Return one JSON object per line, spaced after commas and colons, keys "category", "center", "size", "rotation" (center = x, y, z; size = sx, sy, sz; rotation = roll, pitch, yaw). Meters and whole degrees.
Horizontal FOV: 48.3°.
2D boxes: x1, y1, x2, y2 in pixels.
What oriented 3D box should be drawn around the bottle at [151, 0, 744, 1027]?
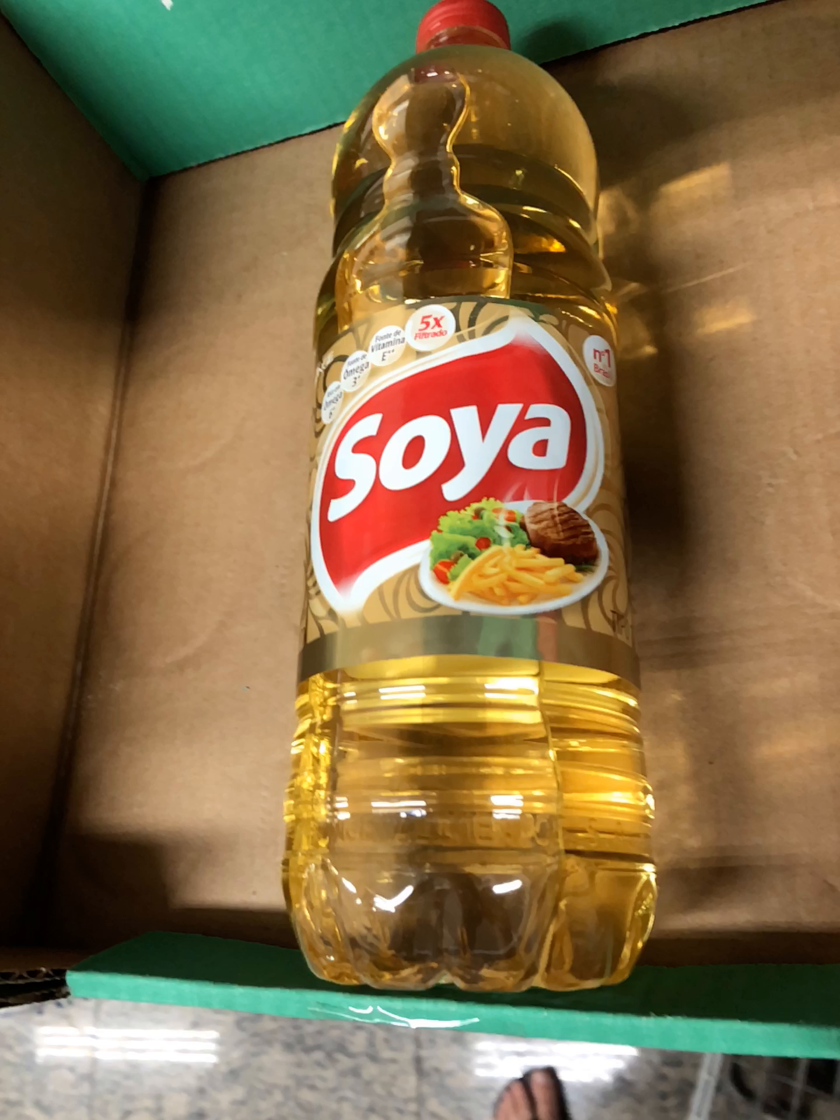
{"category": "bottle", "center": [0.009, -0.030, 0.187], "size": [0.080, 0.070, 0.210], "rotation": [-7, 71, 18]}
